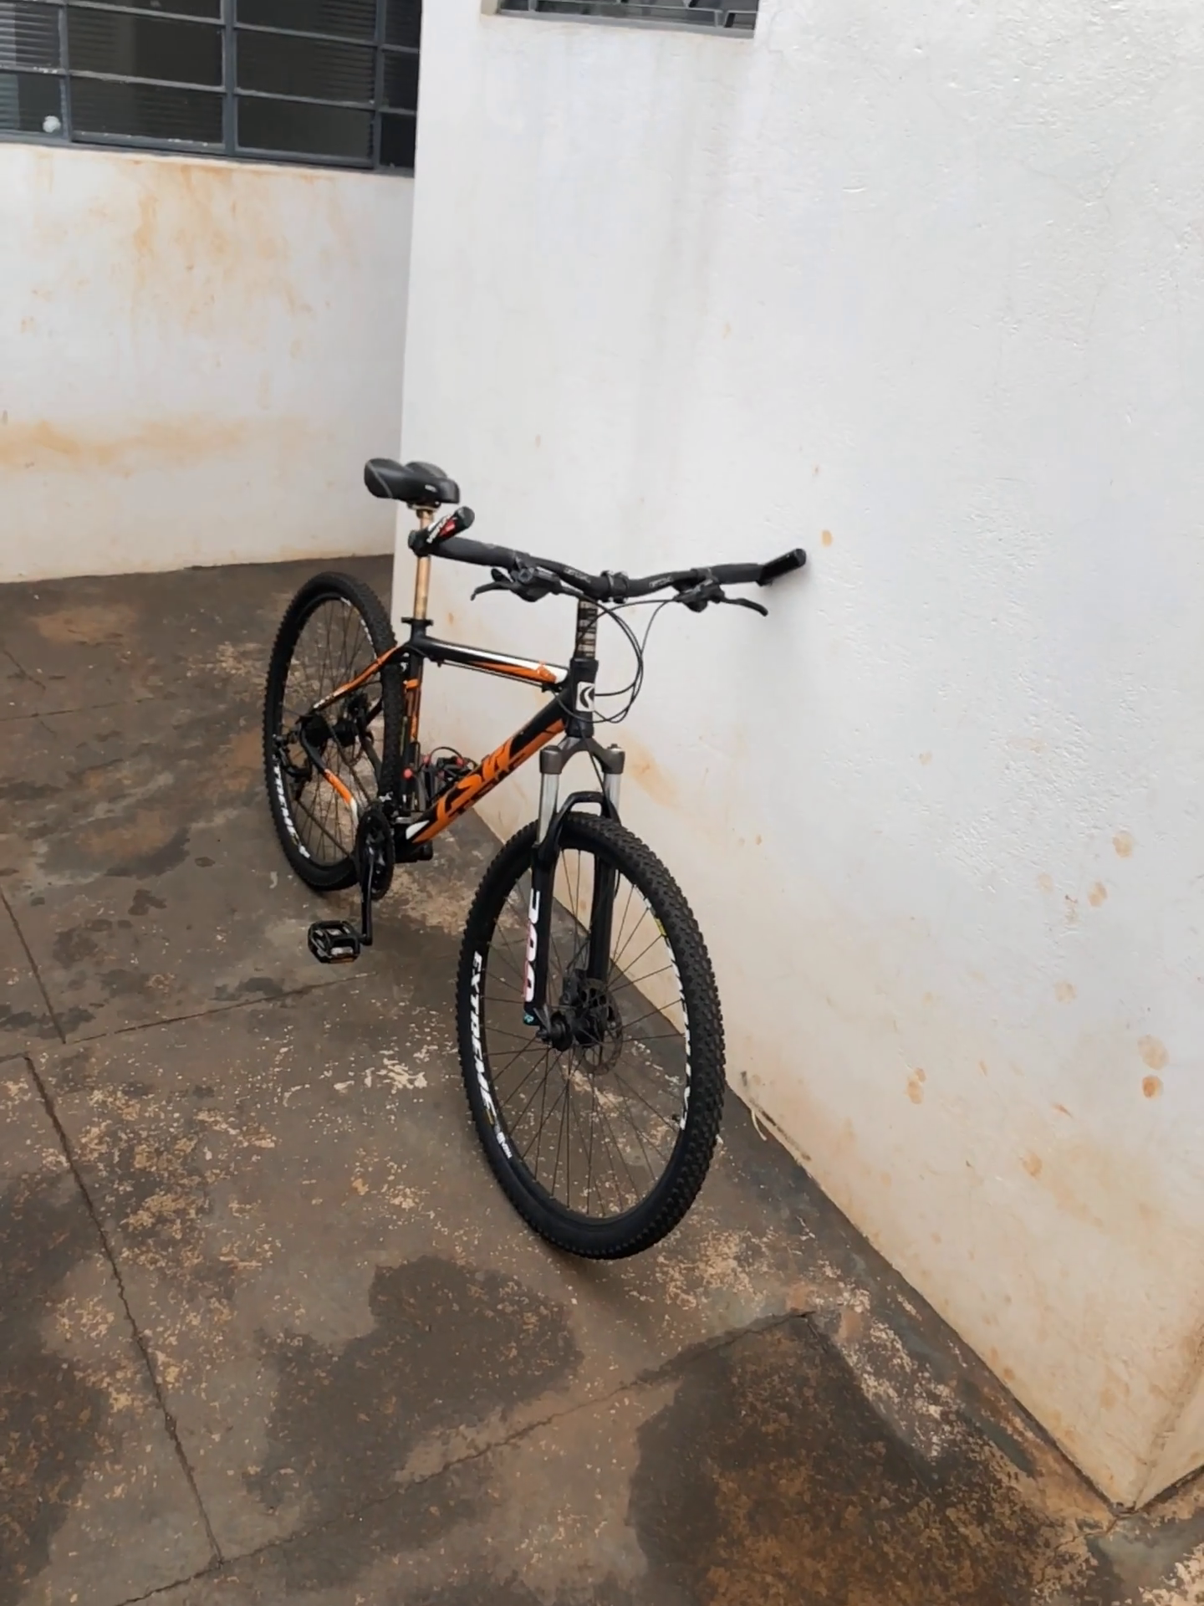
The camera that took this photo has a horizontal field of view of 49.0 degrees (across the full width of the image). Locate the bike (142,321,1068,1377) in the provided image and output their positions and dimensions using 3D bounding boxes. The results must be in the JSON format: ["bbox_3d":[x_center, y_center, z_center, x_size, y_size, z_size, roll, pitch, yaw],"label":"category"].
[{"bbox_3d":[-0.217,-0.137,2.430,0.723,1.084,1.770,-11,33,-31],"label":"bike"}]
